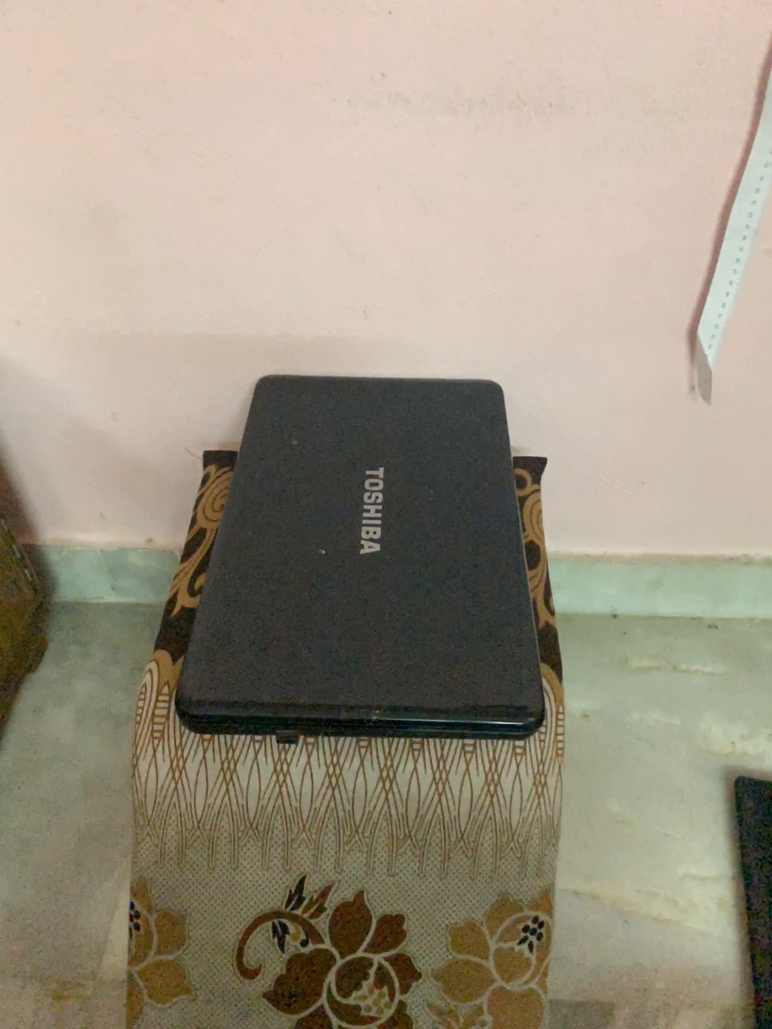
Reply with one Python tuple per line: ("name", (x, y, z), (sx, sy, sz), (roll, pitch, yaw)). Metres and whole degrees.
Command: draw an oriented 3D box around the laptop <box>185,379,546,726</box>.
("laptop", (-0.012, -0.001, 0.619), (0.222, 0.001, 0.371), (1, 43, 1))
